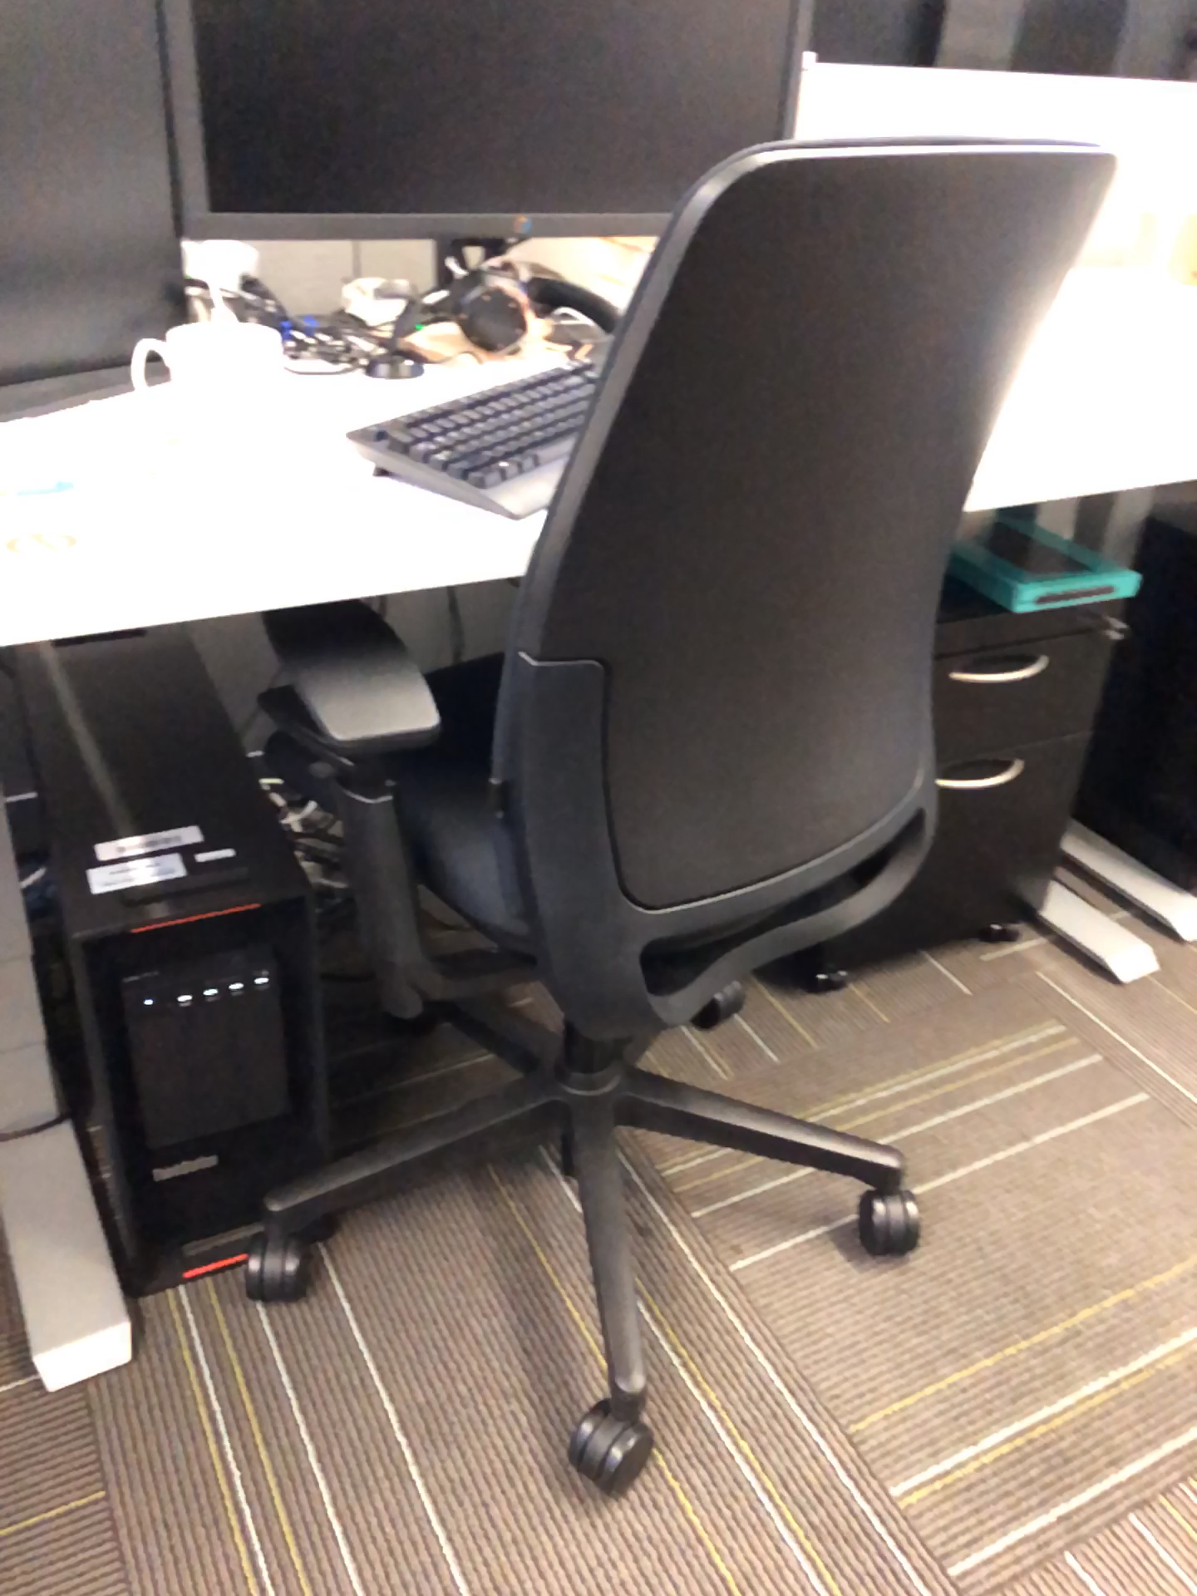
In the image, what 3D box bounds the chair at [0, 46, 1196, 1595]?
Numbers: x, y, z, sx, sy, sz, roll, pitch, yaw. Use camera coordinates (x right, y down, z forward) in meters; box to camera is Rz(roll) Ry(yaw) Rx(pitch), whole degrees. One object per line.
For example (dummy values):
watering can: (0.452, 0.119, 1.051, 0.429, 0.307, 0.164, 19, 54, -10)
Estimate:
chair: (0.002, -0.037, 1.172, 0.712, 1.044, 0.722, -19, 37, -34)
